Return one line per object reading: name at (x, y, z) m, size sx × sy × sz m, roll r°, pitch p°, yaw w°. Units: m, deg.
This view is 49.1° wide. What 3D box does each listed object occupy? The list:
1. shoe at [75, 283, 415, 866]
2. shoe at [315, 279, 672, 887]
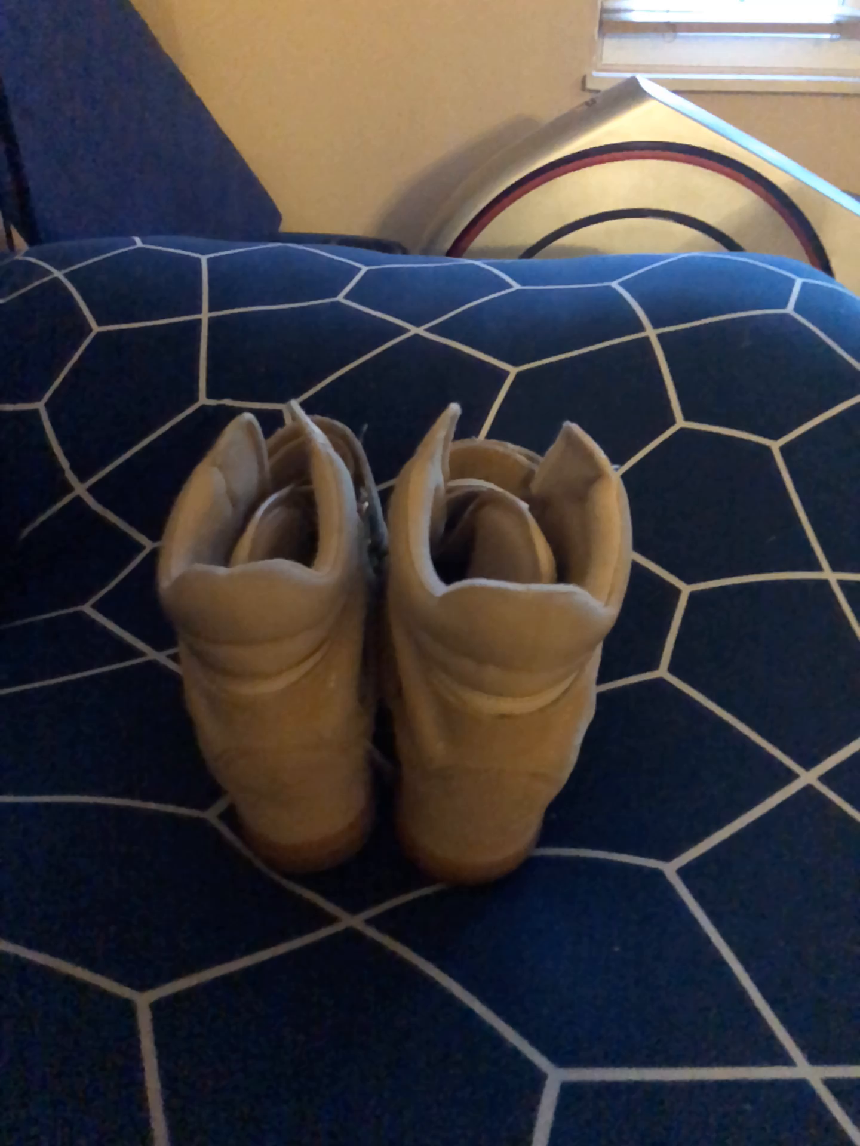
shoe at (-0.061, -0.021, 0.428) m, size 0.100 × 0.139 × 0.262 m, roll -1°, pitch 34°, yaw -2°
shoe at (0.021, -0.022, 0.417) m, size 0.100 × 0.129 × 0.282 m, roll 1°, pitch 34°, yaw 1°
